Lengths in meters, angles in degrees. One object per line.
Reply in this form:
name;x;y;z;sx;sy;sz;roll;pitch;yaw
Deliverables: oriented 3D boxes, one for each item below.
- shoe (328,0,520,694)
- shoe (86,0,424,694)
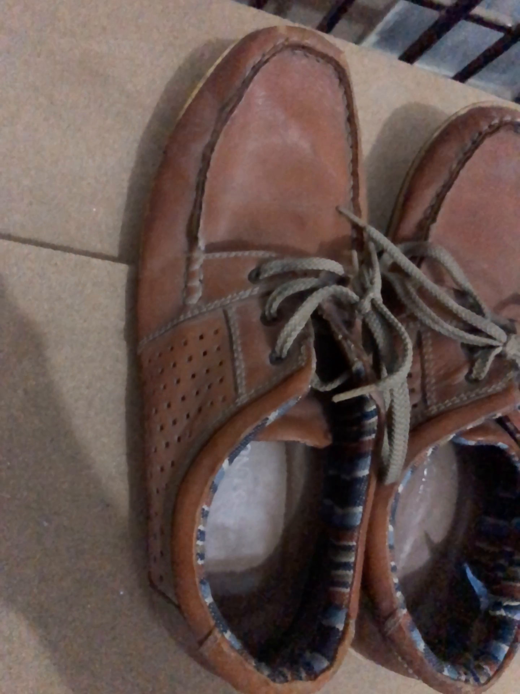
shoe;0.112;0.002;0.269;0.100;0.100;0.280;11;78;-10
shoe;-0.002;-0.020;0.244;0.100;0.100;0.287;5;80;-11
